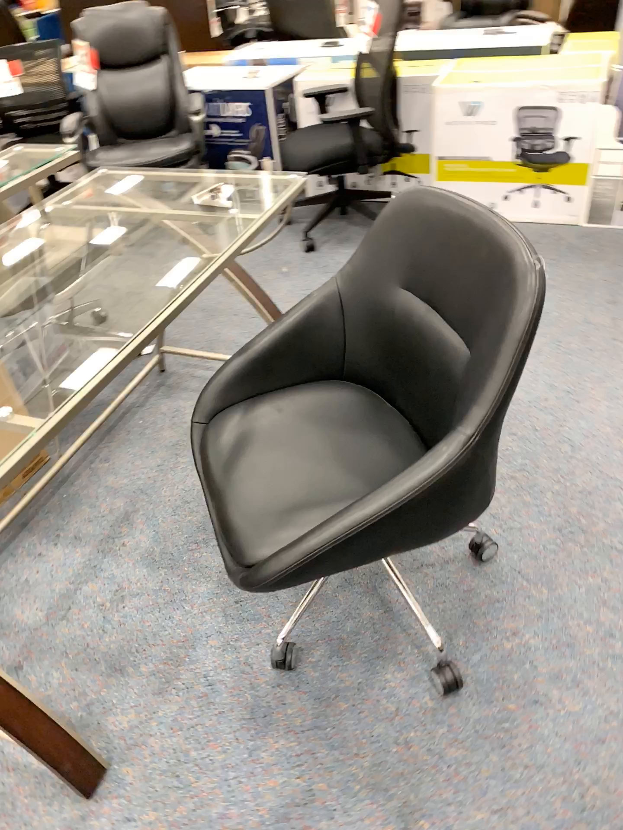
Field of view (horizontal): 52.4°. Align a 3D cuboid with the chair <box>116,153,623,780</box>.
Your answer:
[{"bbox_3d":[0.103,0.072,1.234,0.654,0.843,0.661,-17,39,-12],"label":"chair"}]

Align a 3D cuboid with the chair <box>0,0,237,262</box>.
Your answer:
[{"bbox_3d":[-1.019,-1.499,3.292,0.898,1.062,0.899,1,39,10],"label":"chair"}]

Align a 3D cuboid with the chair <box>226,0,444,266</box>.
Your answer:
[{"bbox_3d":[0.115,-1.404,3.012,0.824,1.012,0.822,-6,38,1],"label":"chair"}]
